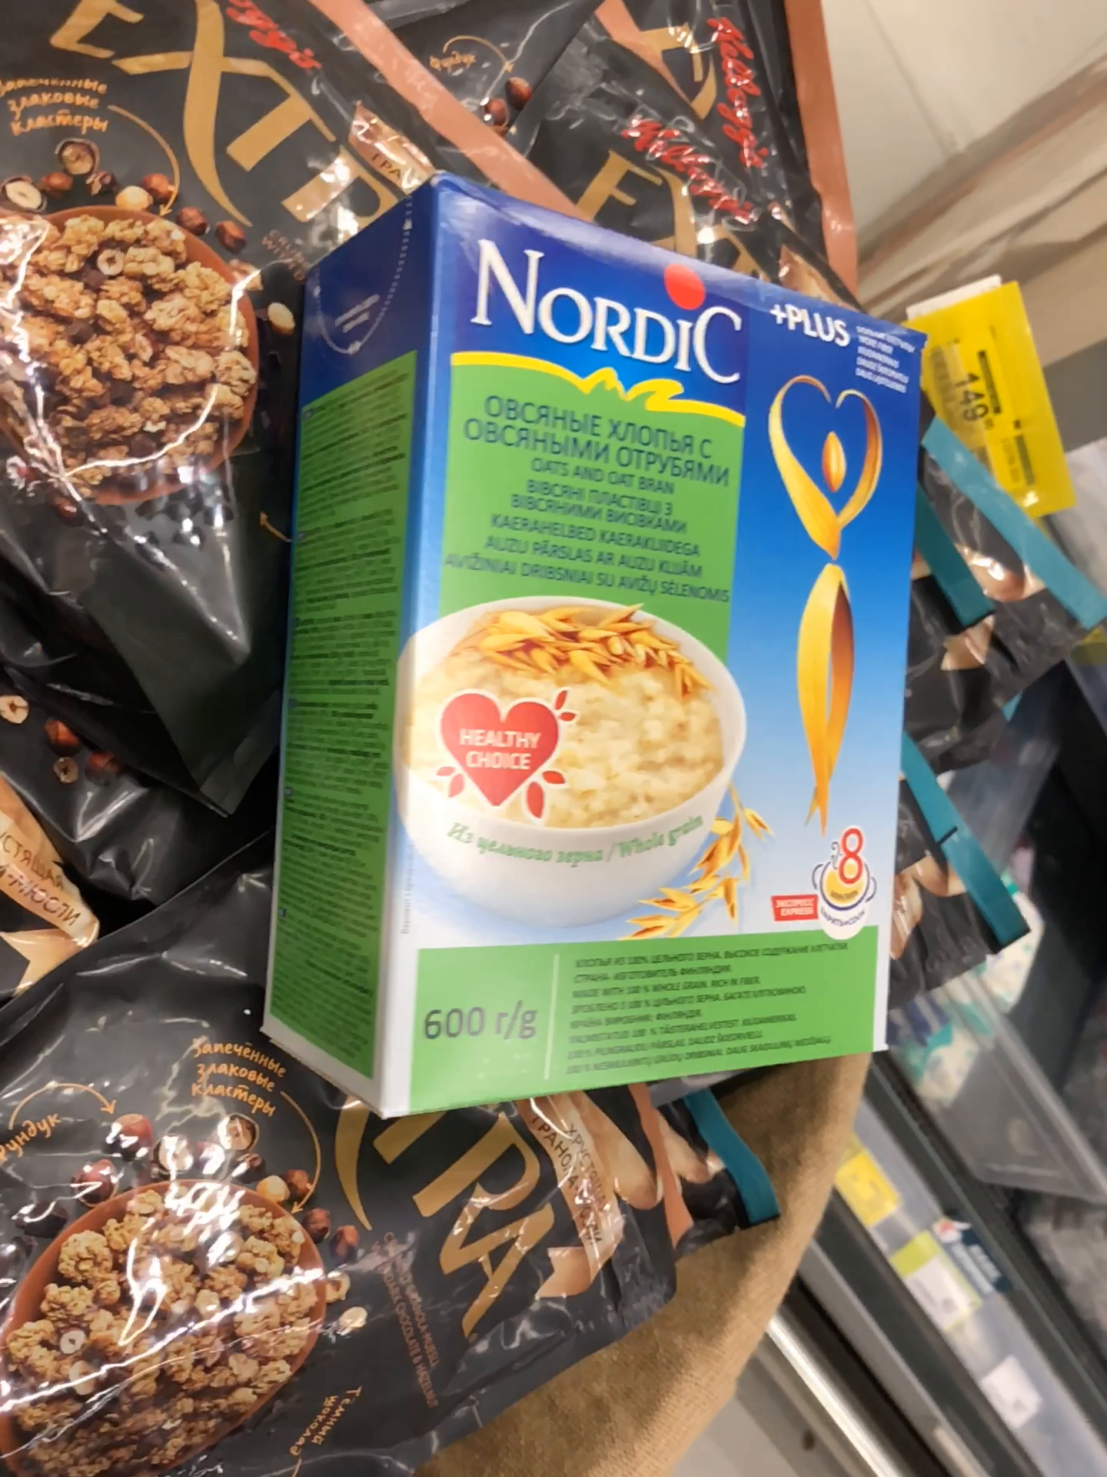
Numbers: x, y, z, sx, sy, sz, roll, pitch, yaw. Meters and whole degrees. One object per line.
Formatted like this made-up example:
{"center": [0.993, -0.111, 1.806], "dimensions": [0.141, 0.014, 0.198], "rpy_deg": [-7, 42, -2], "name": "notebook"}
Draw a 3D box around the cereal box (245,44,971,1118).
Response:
{"center": [0.017, -0.029, 0.317], "dimensions": [0.161, 0.080, 0.210], "rpy_deg": [2, 90, -32], "name": "cereal box"}
